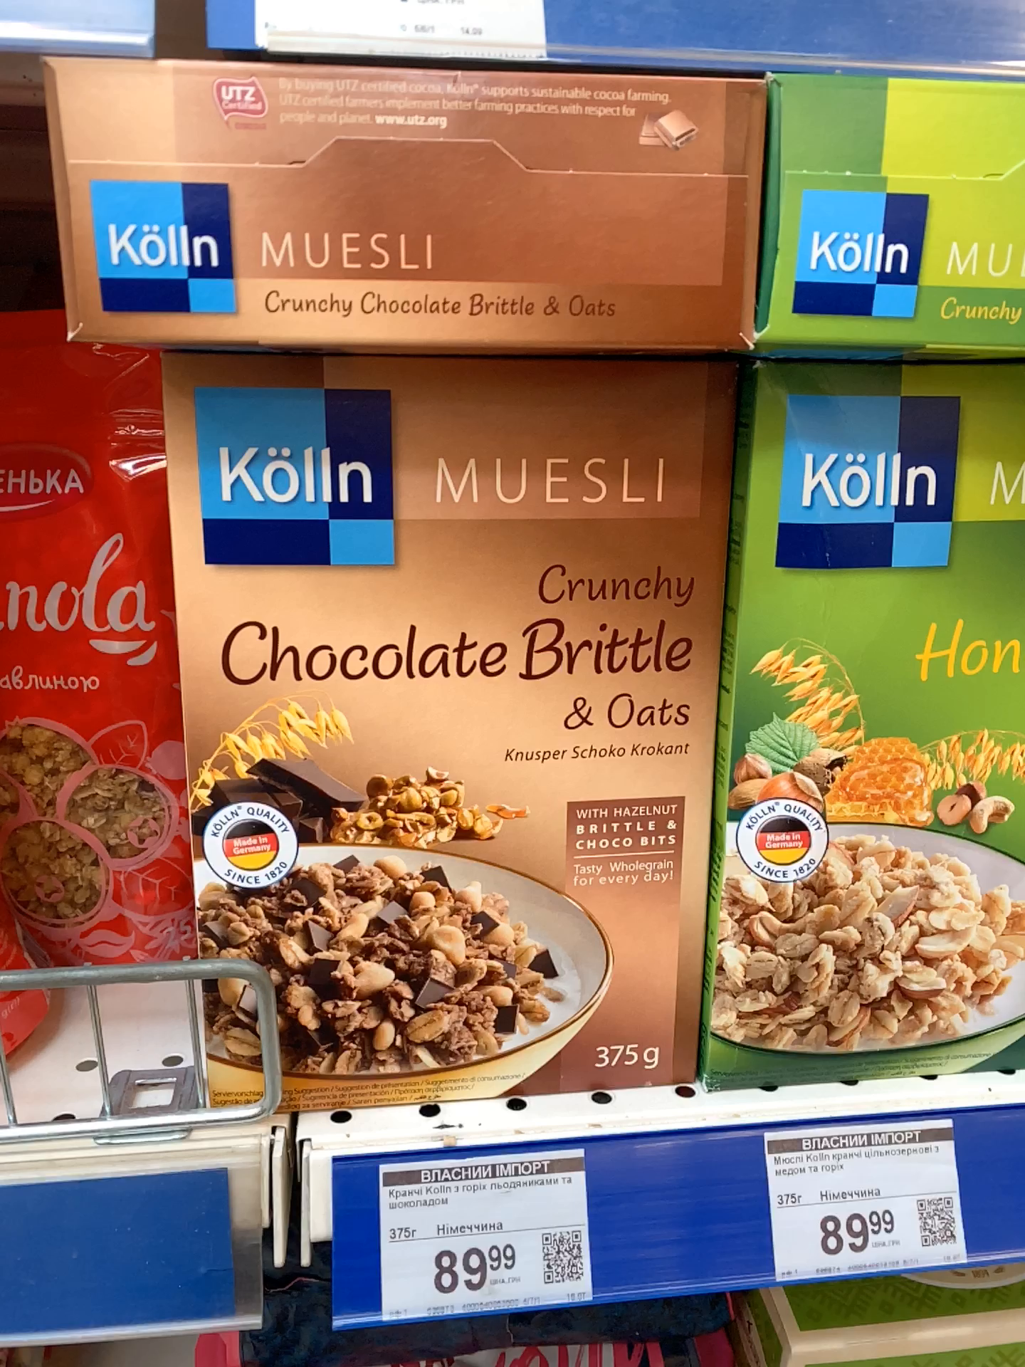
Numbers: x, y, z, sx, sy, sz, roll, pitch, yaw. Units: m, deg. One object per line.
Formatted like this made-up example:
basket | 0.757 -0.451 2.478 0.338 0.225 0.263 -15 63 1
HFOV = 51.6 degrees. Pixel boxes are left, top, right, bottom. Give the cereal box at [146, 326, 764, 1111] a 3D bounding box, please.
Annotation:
cereal box | -0.017 0.010 0.310 0.150 0.209 0.060 0 14 -7
